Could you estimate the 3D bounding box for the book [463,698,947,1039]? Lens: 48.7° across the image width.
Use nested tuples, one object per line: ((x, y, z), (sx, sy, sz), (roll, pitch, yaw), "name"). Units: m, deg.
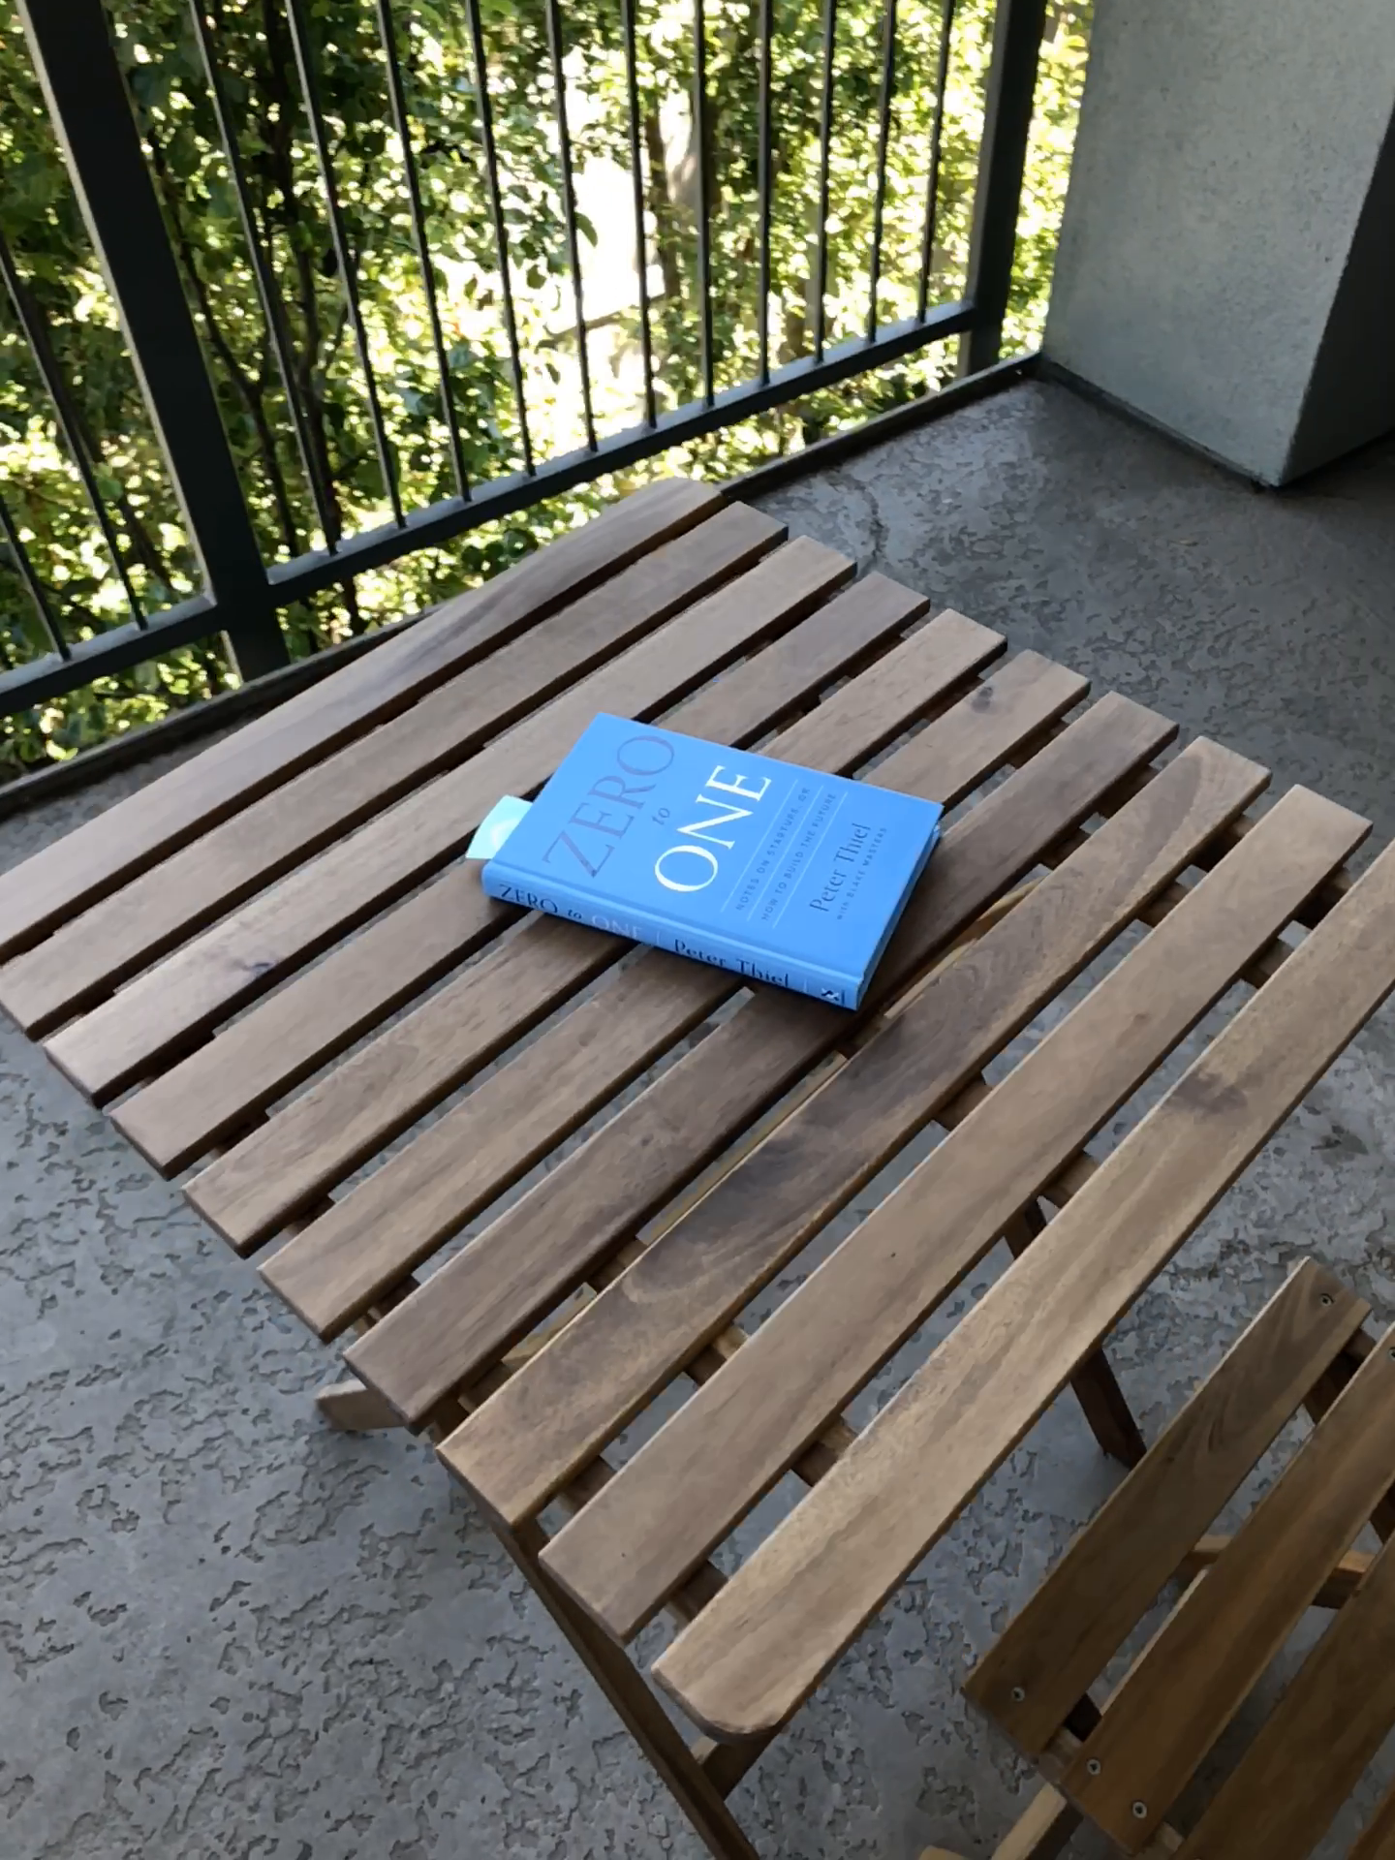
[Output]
((0.007, -0.042, 0.855), (0.220, 0.030, 0.161), (17, 52, 16), "book")
